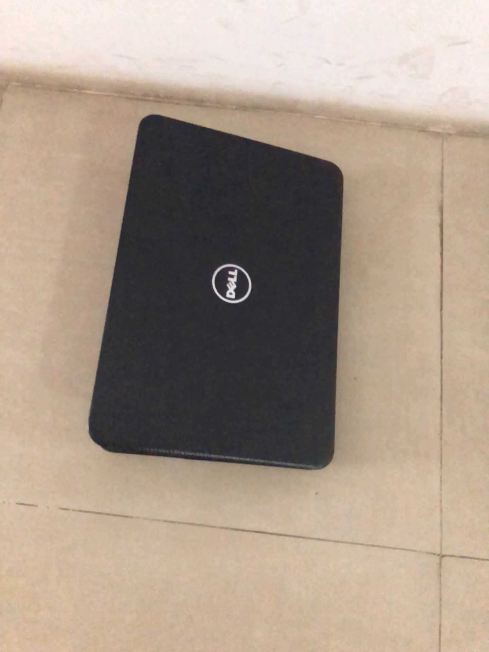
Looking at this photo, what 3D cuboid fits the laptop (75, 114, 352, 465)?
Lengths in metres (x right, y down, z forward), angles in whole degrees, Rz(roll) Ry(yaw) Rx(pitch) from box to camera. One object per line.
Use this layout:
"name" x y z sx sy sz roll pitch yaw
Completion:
"laptop" -0.021 -0.045 0.587 0.247 0.078 0.357 4 74 2
